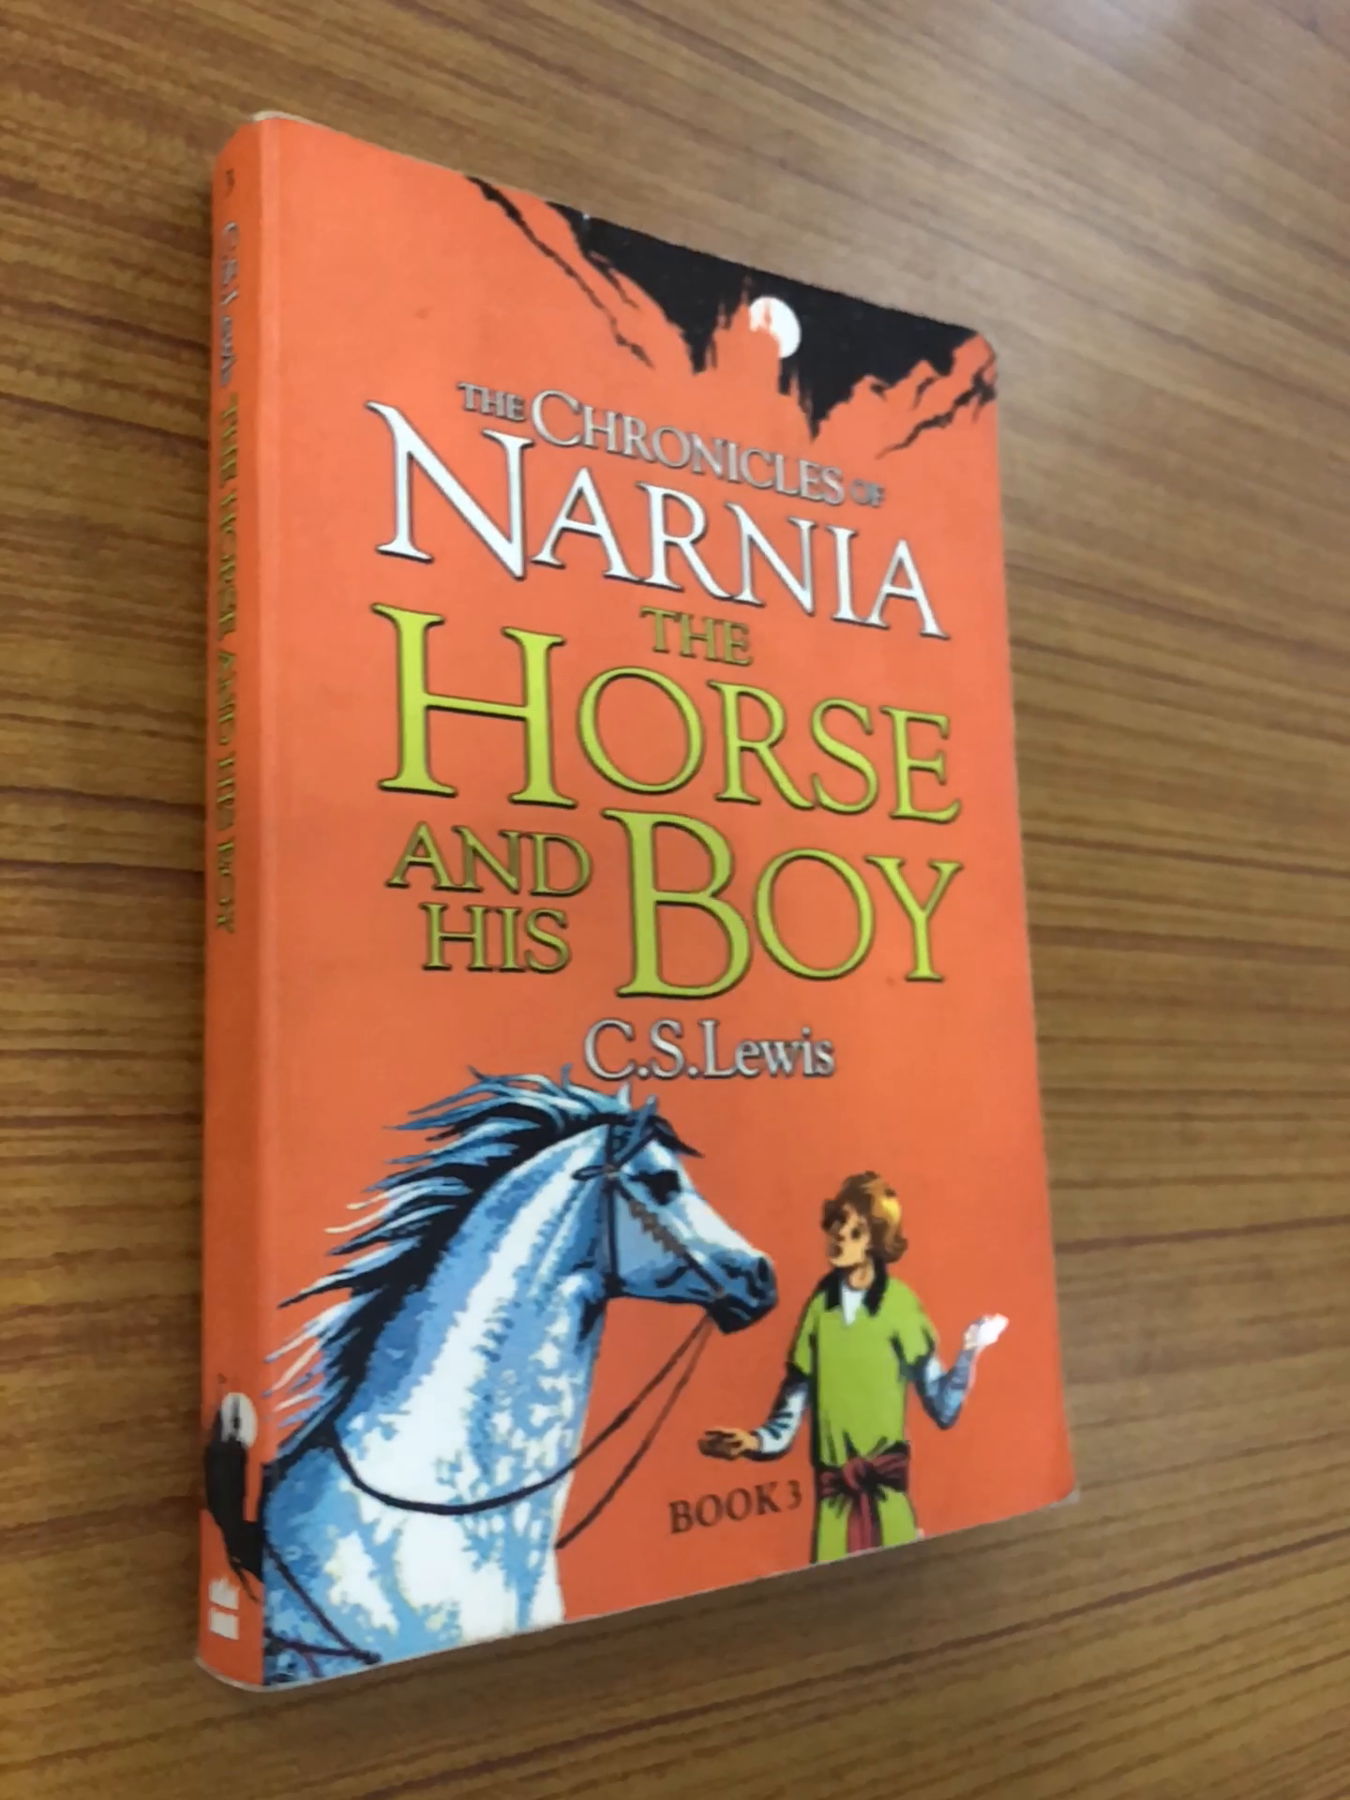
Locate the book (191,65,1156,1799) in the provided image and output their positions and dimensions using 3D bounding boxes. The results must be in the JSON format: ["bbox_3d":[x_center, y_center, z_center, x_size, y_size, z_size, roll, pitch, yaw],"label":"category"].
[{"bbox_3d":[0.003,0.002,0.212,0.131,0.030,0.190,3,79,-34],"label":"book"}]
